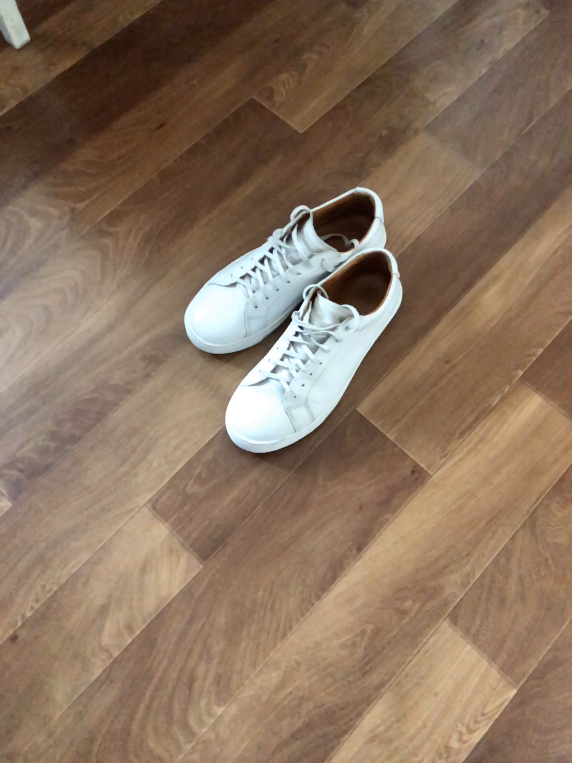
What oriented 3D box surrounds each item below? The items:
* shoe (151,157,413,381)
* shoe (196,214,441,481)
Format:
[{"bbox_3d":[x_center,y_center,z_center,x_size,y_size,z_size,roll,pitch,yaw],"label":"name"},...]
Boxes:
[{"bbox_3d":[-0.002,-0.133,0.745,0.280,0.090,0.110,-33,73,-10],"label":"shoe"},{"bbox_3d":[0.040,-0.039,0.706,0.110,0.090,0.280,37,75,13],"label":"shoe"}]
